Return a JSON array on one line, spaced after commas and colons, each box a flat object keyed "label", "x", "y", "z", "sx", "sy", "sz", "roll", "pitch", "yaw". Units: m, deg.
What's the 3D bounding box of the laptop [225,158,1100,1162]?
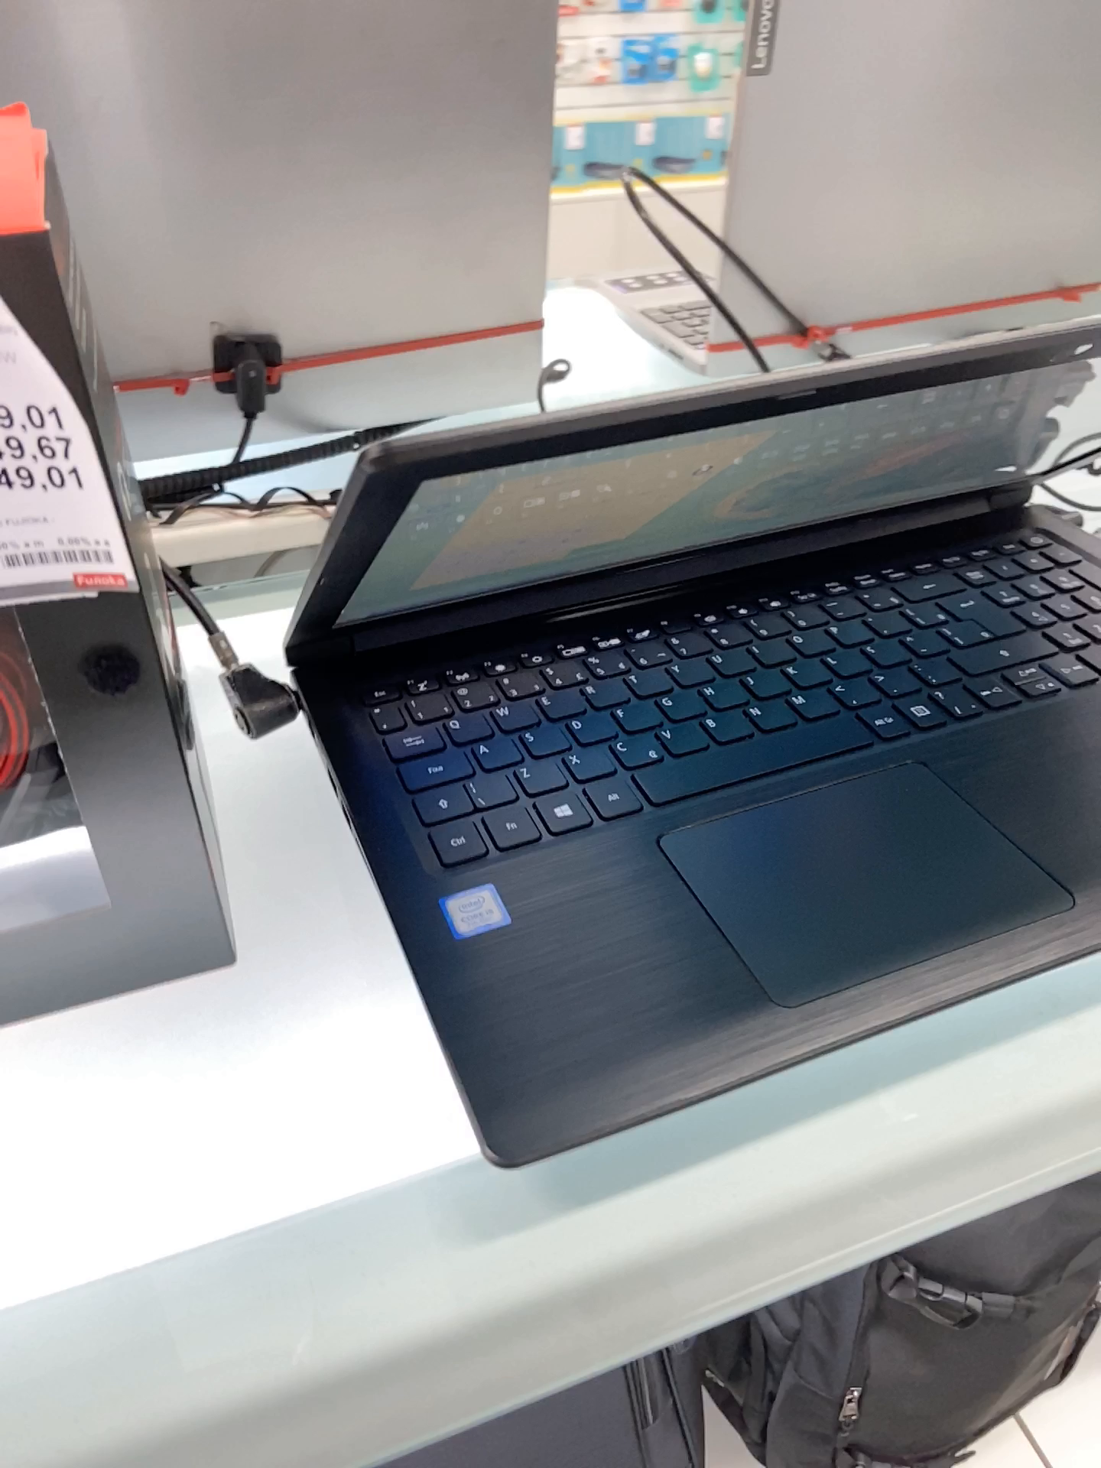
[{"label": "laptop", "x": 0.112, "y": -0.069, "z": 0.377, "sx": 0.370, "sy": 0.157, "sz": 0.240, "roll": -14, "pitch": 38, "yaw": -18}]
